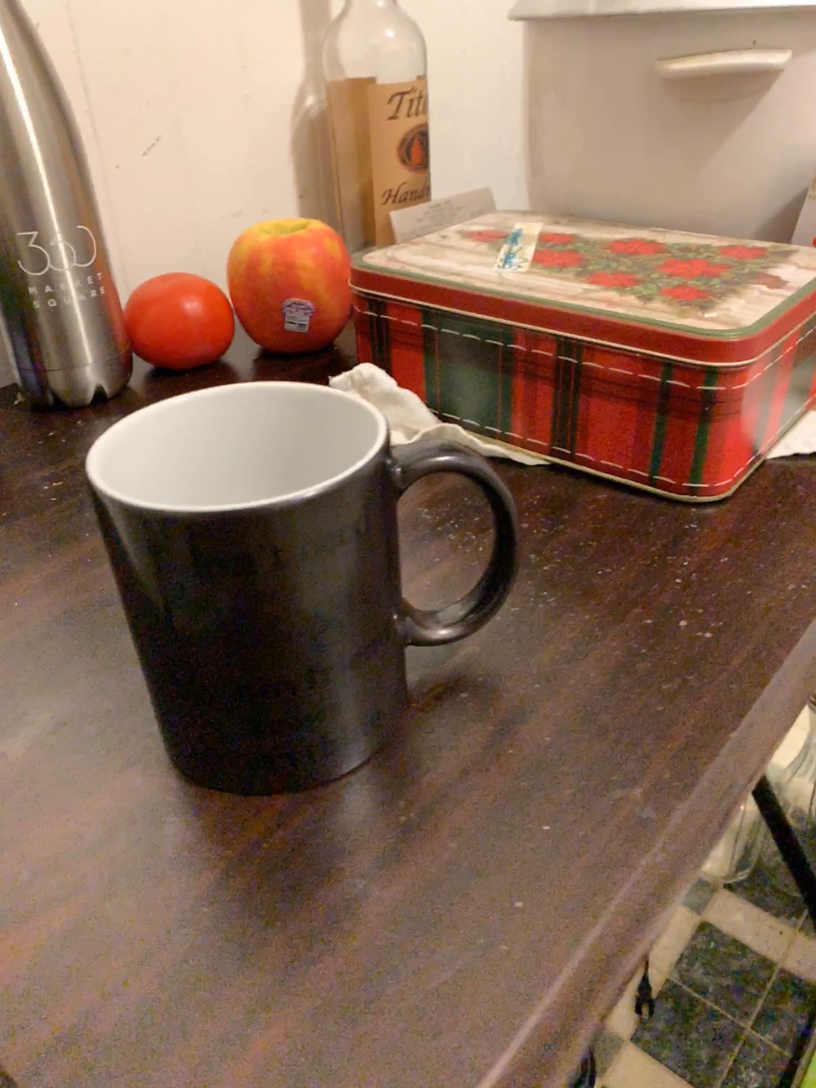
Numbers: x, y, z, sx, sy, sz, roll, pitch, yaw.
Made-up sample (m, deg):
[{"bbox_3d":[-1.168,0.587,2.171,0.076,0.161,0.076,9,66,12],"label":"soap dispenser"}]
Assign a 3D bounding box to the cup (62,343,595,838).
[{"bbox_3d":[-0.024,0.008,0.259,0.130,0.099,0.081,-12,33,-13],"label":"cup"}]
